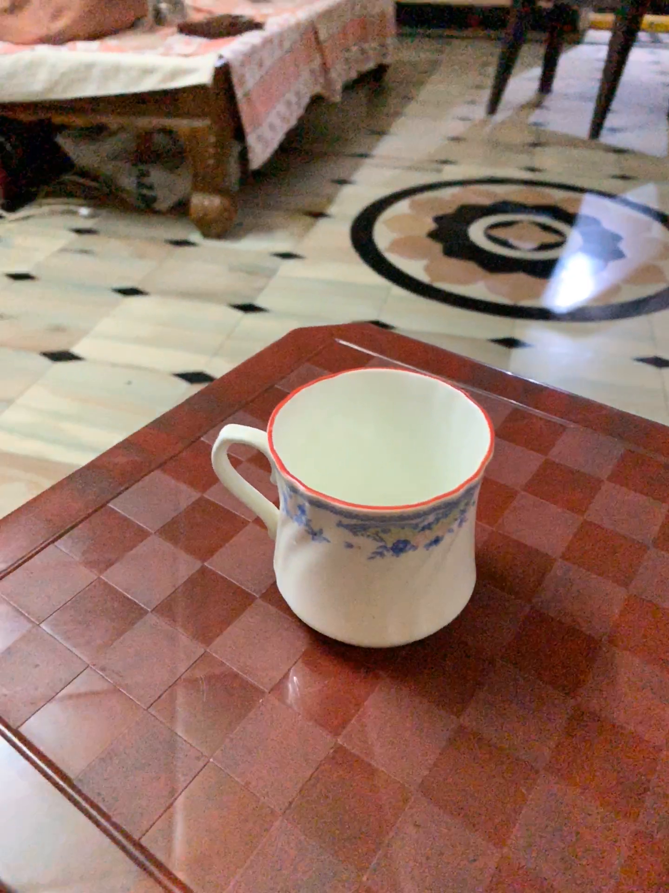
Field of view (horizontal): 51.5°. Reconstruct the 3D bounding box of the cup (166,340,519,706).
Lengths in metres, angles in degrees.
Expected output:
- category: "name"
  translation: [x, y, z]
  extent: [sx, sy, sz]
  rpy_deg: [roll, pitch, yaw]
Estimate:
- category: "cup"
  translation: [0.007, 0.023, 0.231]
  extent: [0.090, 0.080, 0.070]
  rpy_deg: [9, 40, 12]
